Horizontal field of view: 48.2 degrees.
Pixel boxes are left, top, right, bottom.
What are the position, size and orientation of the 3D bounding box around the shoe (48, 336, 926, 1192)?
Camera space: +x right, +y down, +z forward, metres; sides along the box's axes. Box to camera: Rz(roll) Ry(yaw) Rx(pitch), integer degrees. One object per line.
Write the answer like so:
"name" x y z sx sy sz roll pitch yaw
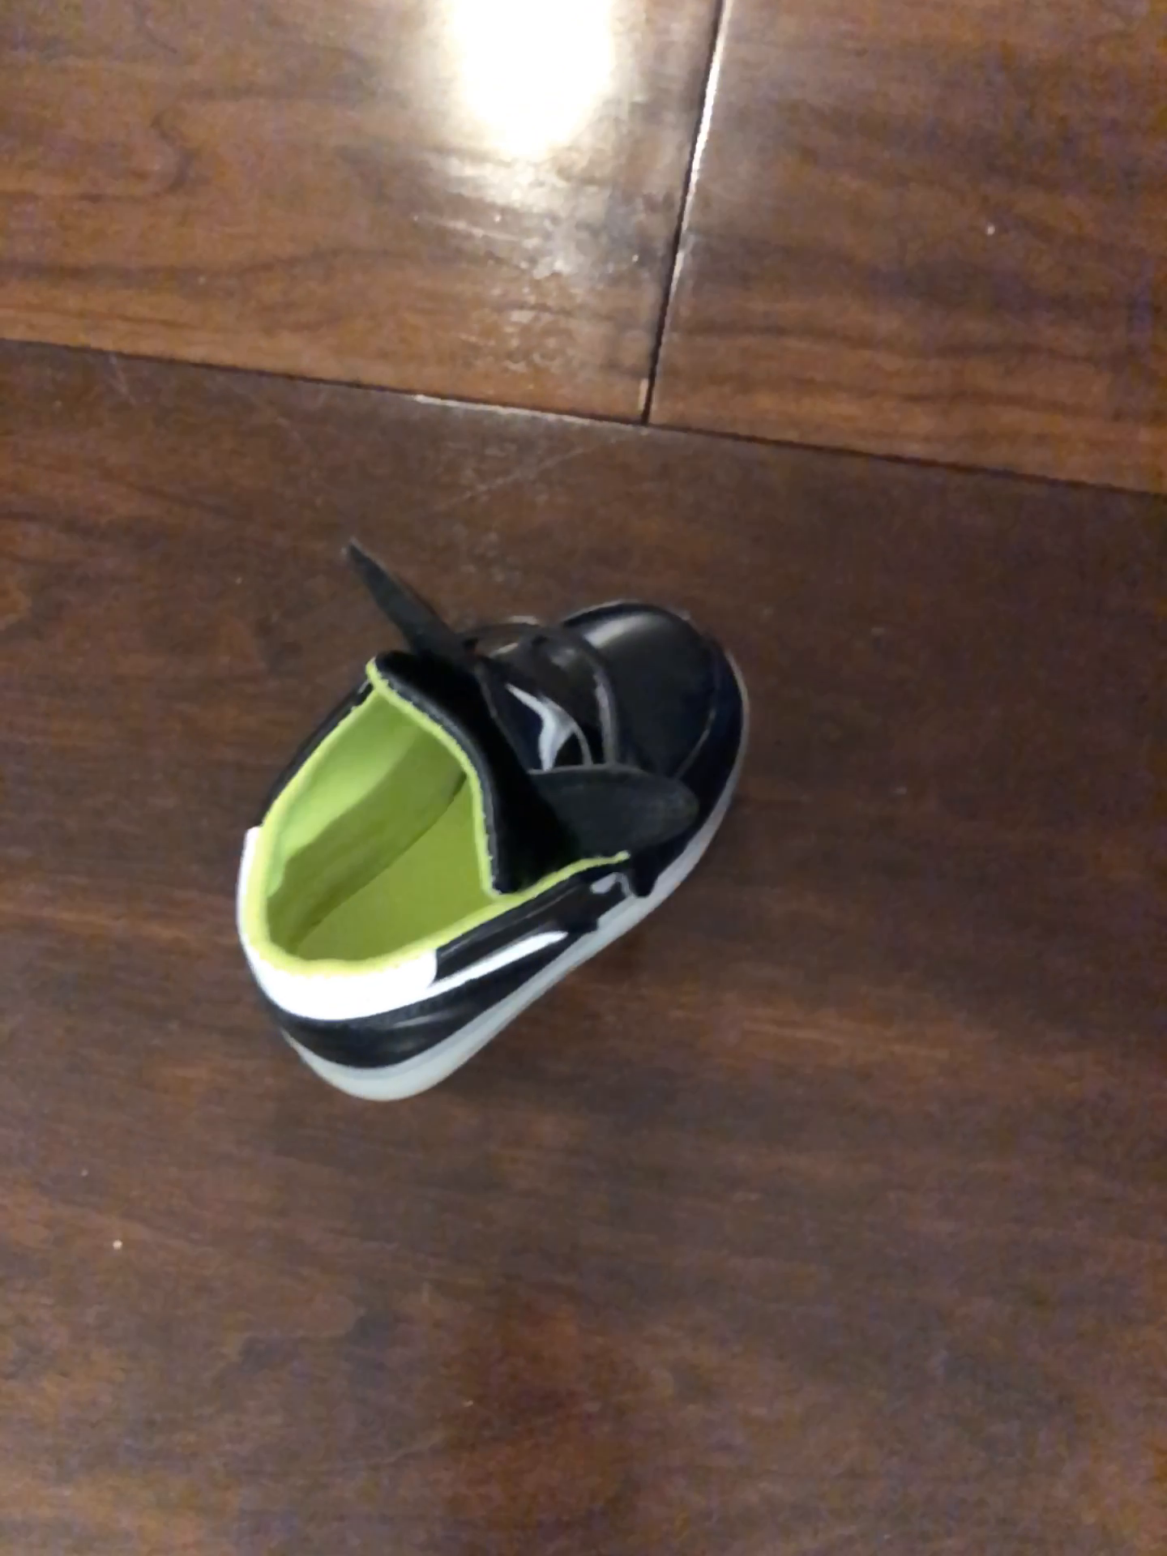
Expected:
"shoe" -0.016 0.001 0.299 0.090 0.100 0.150 41 73 15
